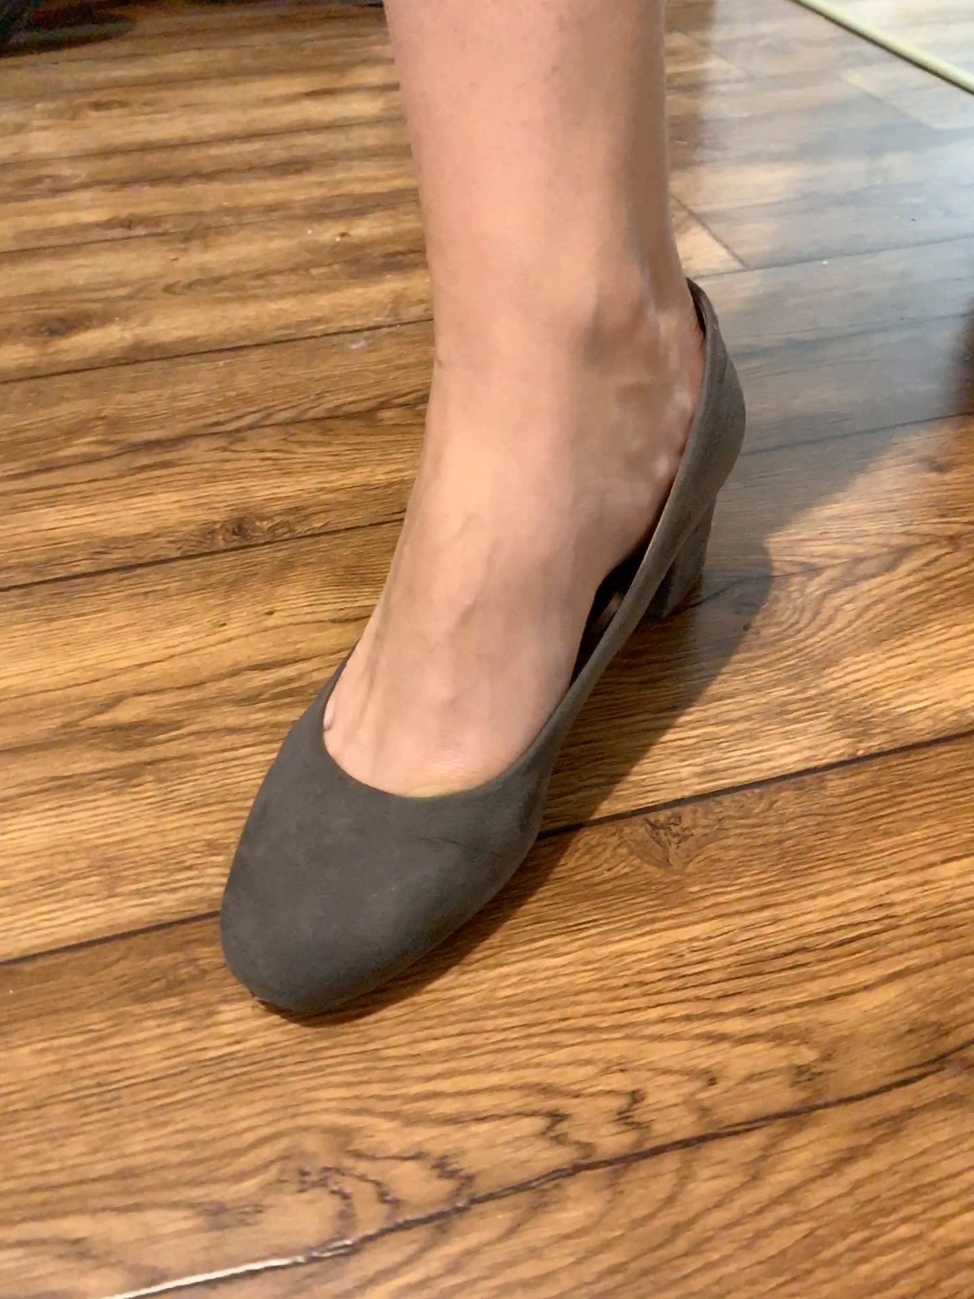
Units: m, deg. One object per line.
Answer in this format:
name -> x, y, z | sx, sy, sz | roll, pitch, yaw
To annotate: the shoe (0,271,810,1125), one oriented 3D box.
shoe -> -0.001, -0.005, 0.278 | 0.084, 0.109, 0.211 | 24, 50, 28
